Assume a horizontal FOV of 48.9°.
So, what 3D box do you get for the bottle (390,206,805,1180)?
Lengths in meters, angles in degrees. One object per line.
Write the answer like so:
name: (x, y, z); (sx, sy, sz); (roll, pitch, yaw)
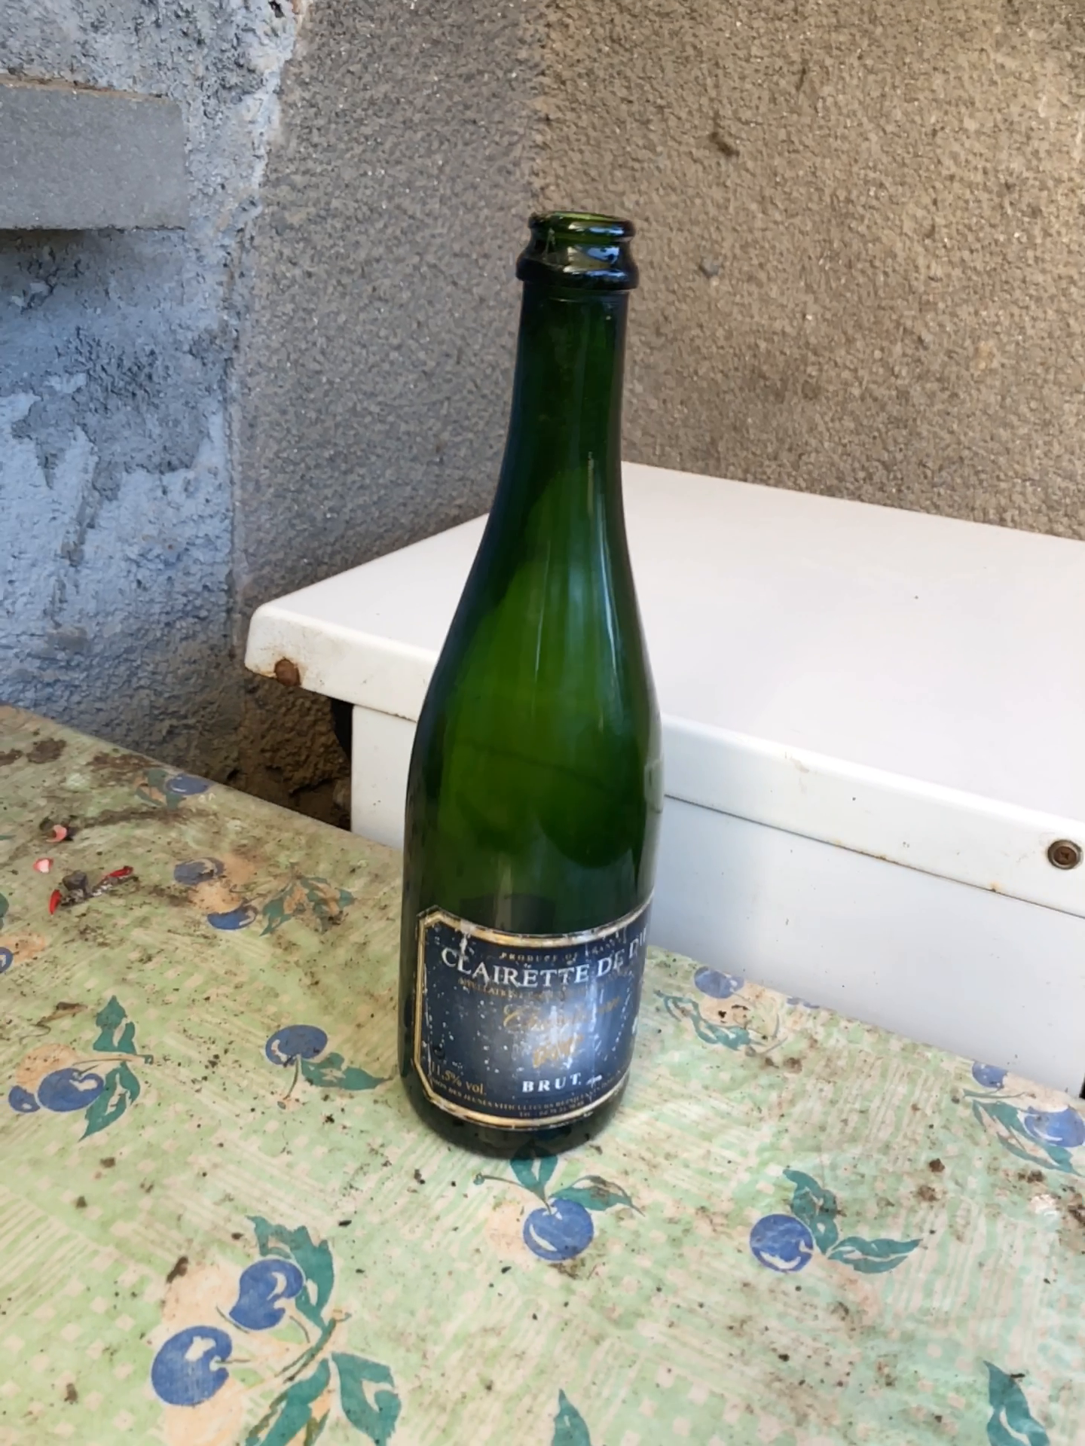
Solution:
bottle: (0.003, 0.002, 0.396); (0.090, 0.308, 0.080); (0, 25, -12)
